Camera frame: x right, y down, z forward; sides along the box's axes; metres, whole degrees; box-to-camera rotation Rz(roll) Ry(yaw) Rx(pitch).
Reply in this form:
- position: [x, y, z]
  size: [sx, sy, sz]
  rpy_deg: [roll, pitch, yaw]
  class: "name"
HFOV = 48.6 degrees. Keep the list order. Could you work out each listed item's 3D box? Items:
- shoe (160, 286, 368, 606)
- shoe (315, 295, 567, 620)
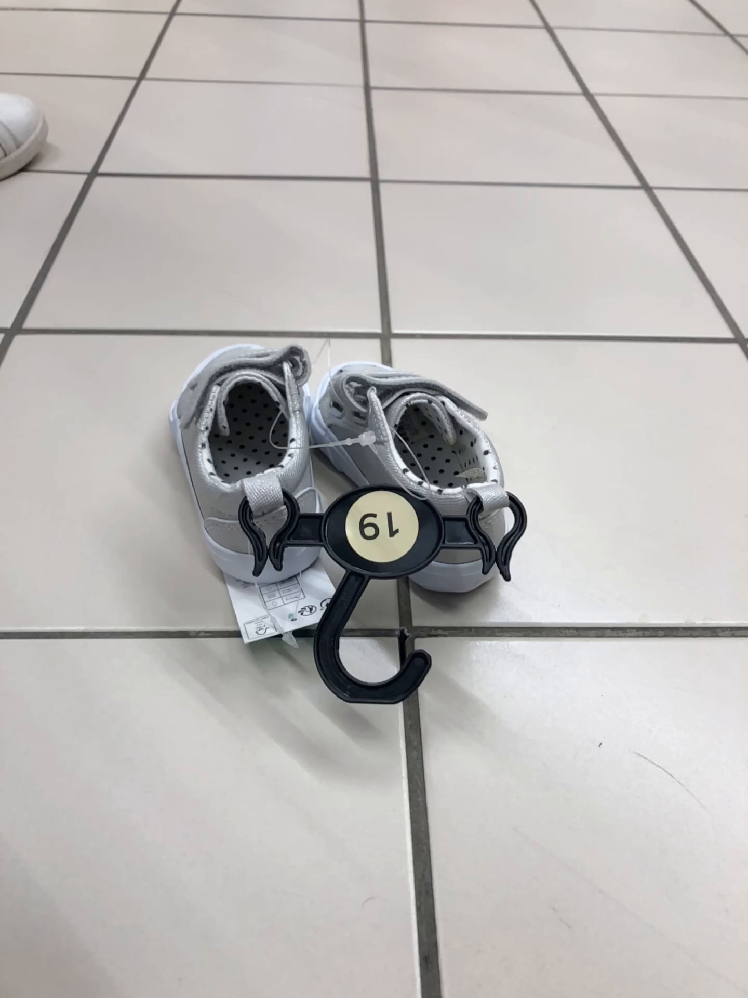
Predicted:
- position: [-0.051, -0.030, 0.354]
  size: [0.064, 0.053, 0.138]
  rpy_deg: [-8, 45, -12]
  class: "shoe"
- position: [0.020, -0.024, 0.351]
  size: [0.059, 0.053, 0.138]
  rpy_deg: [-10, 45, -13]
  class: "shoe"
